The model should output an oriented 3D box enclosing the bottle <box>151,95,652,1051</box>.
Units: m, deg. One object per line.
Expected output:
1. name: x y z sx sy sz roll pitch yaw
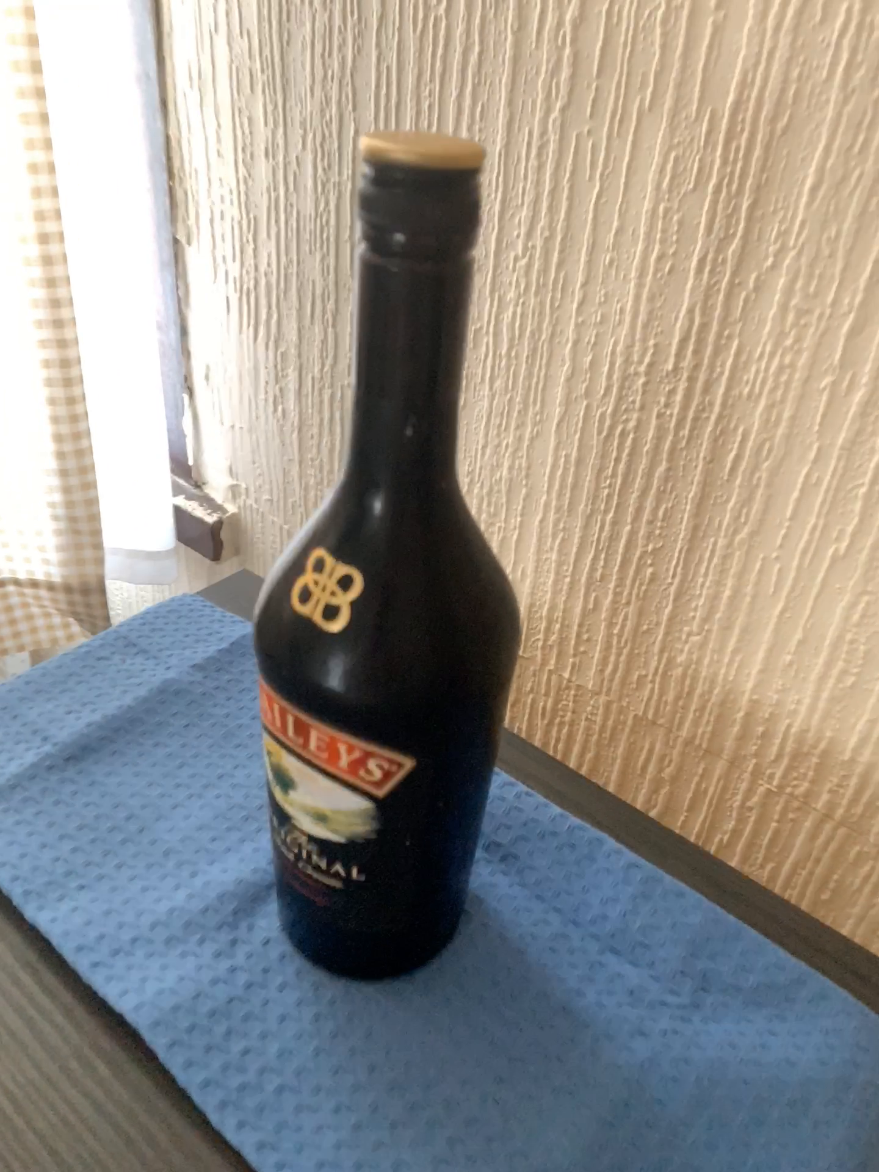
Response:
1. bottle: -0.019 0.015 0.285 0.090 0.287 0.070 27 40 29
